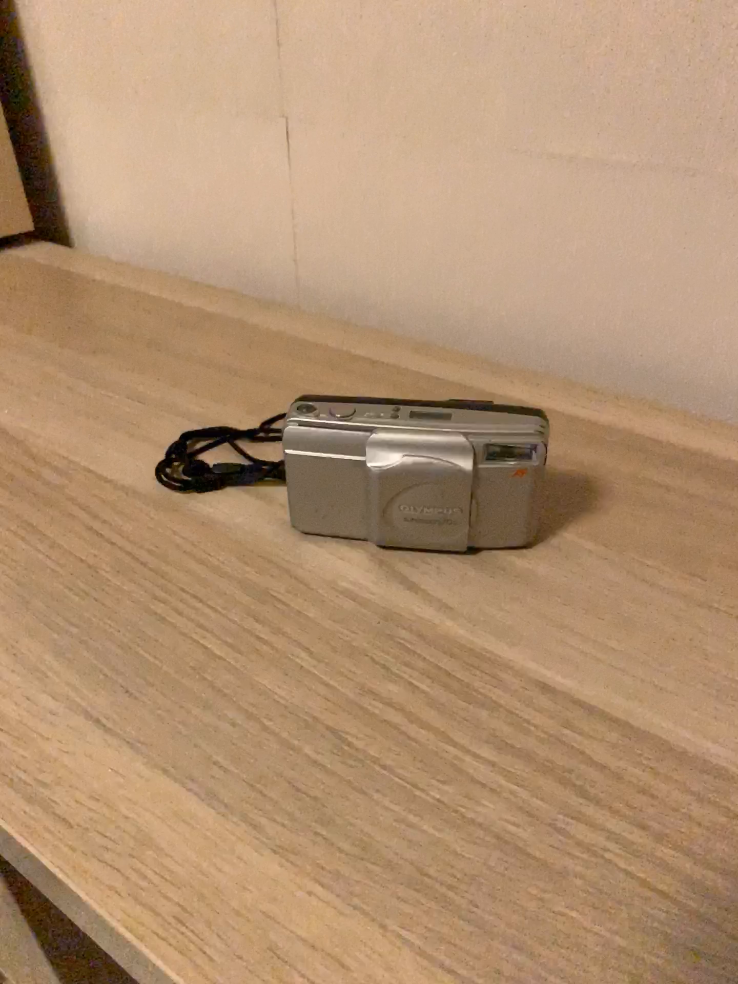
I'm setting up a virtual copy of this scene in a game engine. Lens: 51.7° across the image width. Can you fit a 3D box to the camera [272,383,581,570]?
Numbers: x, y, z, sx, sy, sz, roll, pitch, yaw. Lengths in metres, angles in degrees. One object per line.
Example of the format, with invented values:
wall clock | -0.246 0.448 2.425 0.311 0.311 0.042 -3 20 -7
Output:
camera | 0.026 -0.008 0.346 0.126 0.059 0.046 5 35 8
